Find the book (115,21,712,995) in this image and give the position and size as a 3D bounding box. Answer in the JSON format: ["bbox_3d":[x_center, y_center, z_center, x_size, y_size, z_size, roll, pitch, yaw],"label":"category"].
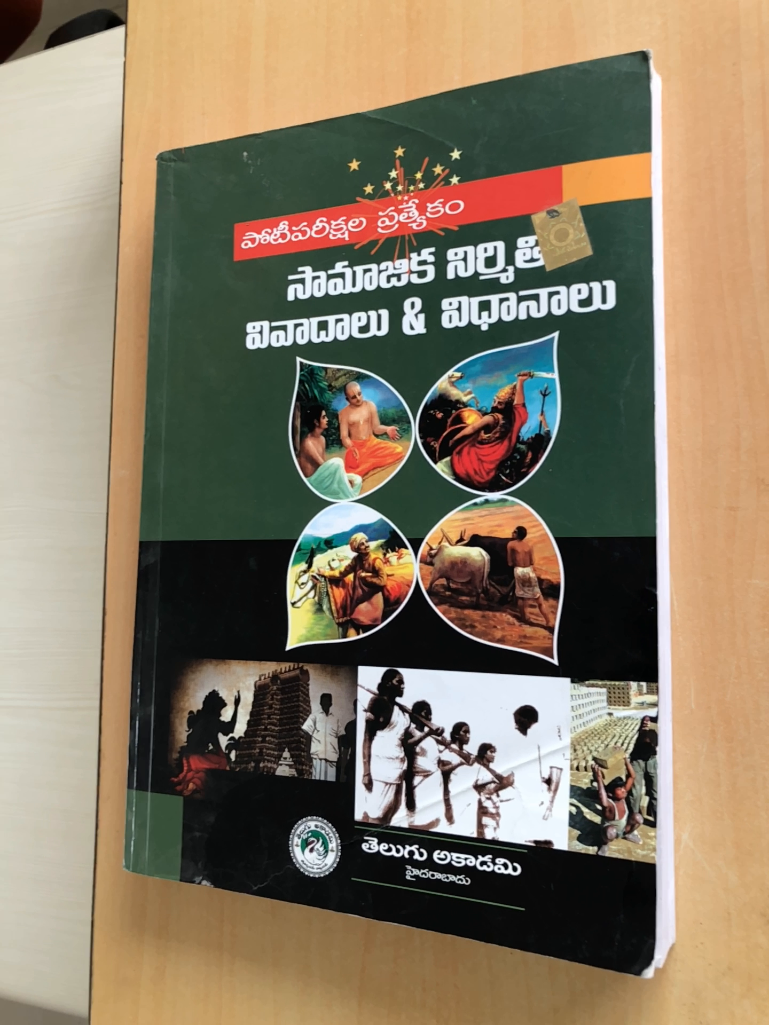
[{"bbox_3d":[0.007,-0.005,0.294,0.190,0.050,0.270,-1,84,22],"label":"book"}]
